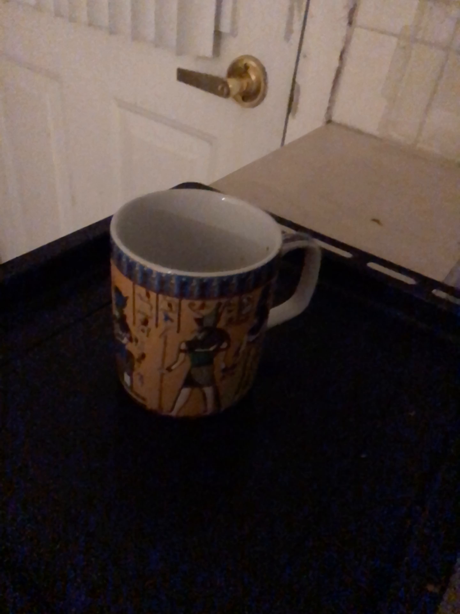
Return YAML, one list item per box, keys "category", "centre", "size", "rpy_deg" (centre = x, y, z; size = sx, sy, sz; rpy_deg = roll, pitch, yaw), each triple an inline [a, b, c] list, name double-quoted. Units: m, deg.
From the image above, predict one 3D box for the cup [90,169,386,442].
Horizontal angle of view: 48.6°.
- category: "cup"
  centre: [0.000, -0.008, 0.274]
  size: [0.120, 0.089, 0.080]
  rpy_deg: [-17, 45, -28]
